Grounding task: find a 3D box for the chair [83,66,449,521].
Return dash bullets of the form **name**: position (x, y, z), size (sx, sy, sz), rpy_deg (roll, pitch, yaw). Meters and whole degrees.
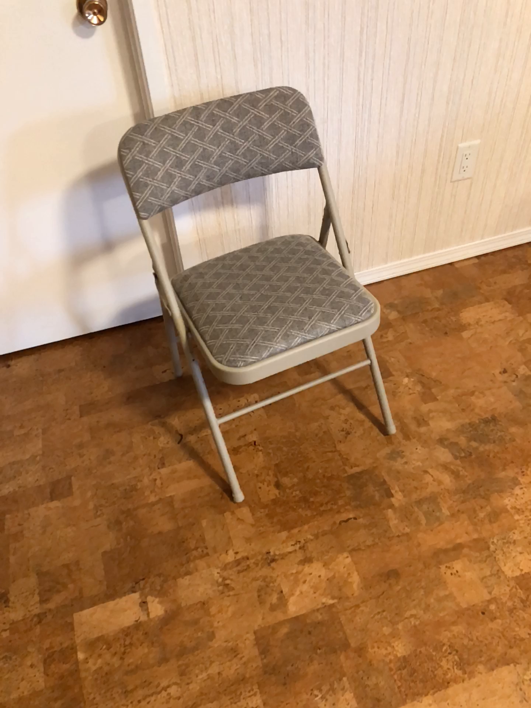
- **chair**: position (-0.013, -0.131, 1.359), size (0.490, 0.757, 0.562), rpy_deg (-21, 48, -15)
